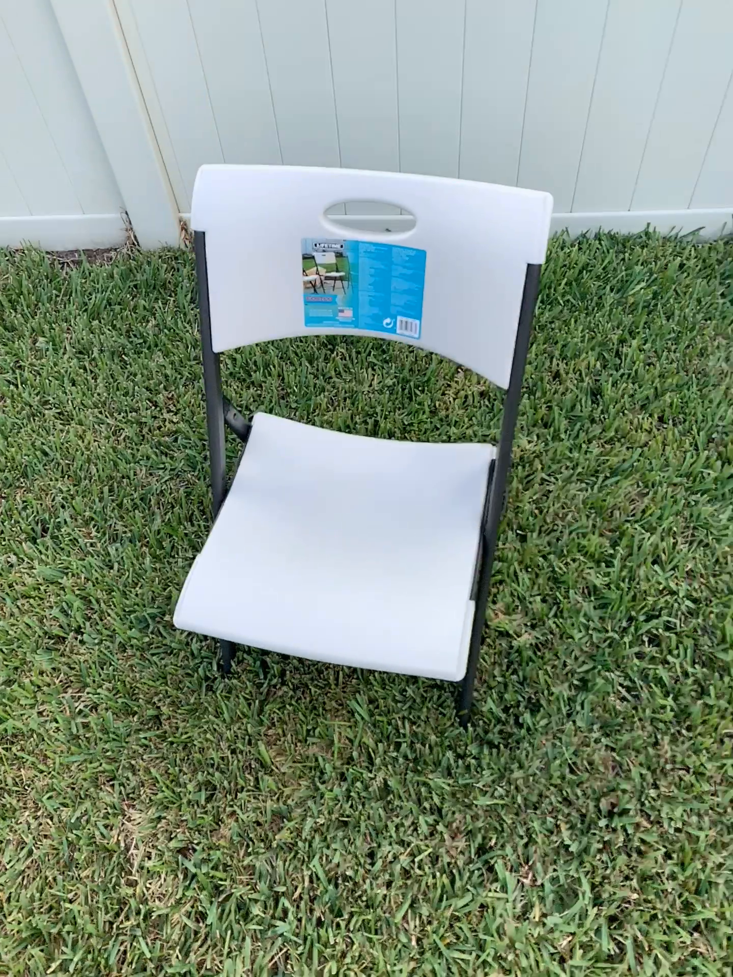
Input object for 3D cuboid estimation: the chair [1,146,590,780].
[{"bbox_3d":[-0.013,0.009,1.111,0.518,0.767,0.519,8,54,10],"label":"chair"}]
